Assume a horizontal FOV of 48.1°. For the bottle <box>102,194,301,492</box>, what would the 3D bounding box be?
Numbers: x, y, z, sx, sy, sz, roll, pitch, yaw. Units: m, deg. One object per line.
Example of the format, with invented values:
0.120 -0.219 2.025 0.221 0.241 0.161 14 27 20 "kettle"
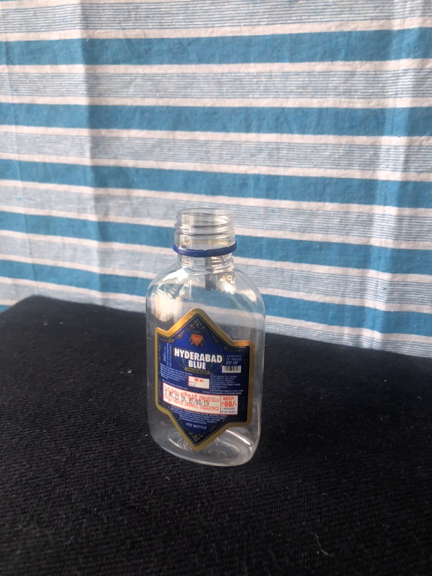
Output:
-0.004 0.018 0.198 0.060 0.100 0.050 9 22 17 "bottle"
